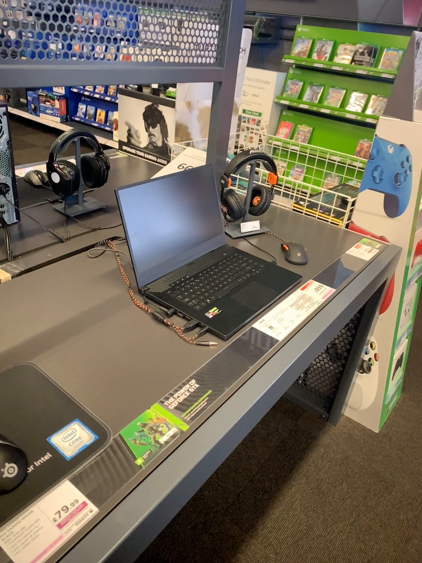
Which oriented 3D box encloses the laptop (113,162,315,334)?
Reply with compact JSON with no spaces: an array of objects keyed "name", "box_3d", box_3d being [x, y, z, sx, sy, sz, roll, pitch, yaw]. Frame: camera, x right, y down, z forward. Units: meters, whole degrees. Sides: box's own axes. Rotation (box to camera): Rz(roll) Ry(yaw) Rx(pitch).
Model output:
[{"name":"laptop","box_3d":[0.010,-0.110,1.022,0.324,0.203,0.350,26,35,26]}]
